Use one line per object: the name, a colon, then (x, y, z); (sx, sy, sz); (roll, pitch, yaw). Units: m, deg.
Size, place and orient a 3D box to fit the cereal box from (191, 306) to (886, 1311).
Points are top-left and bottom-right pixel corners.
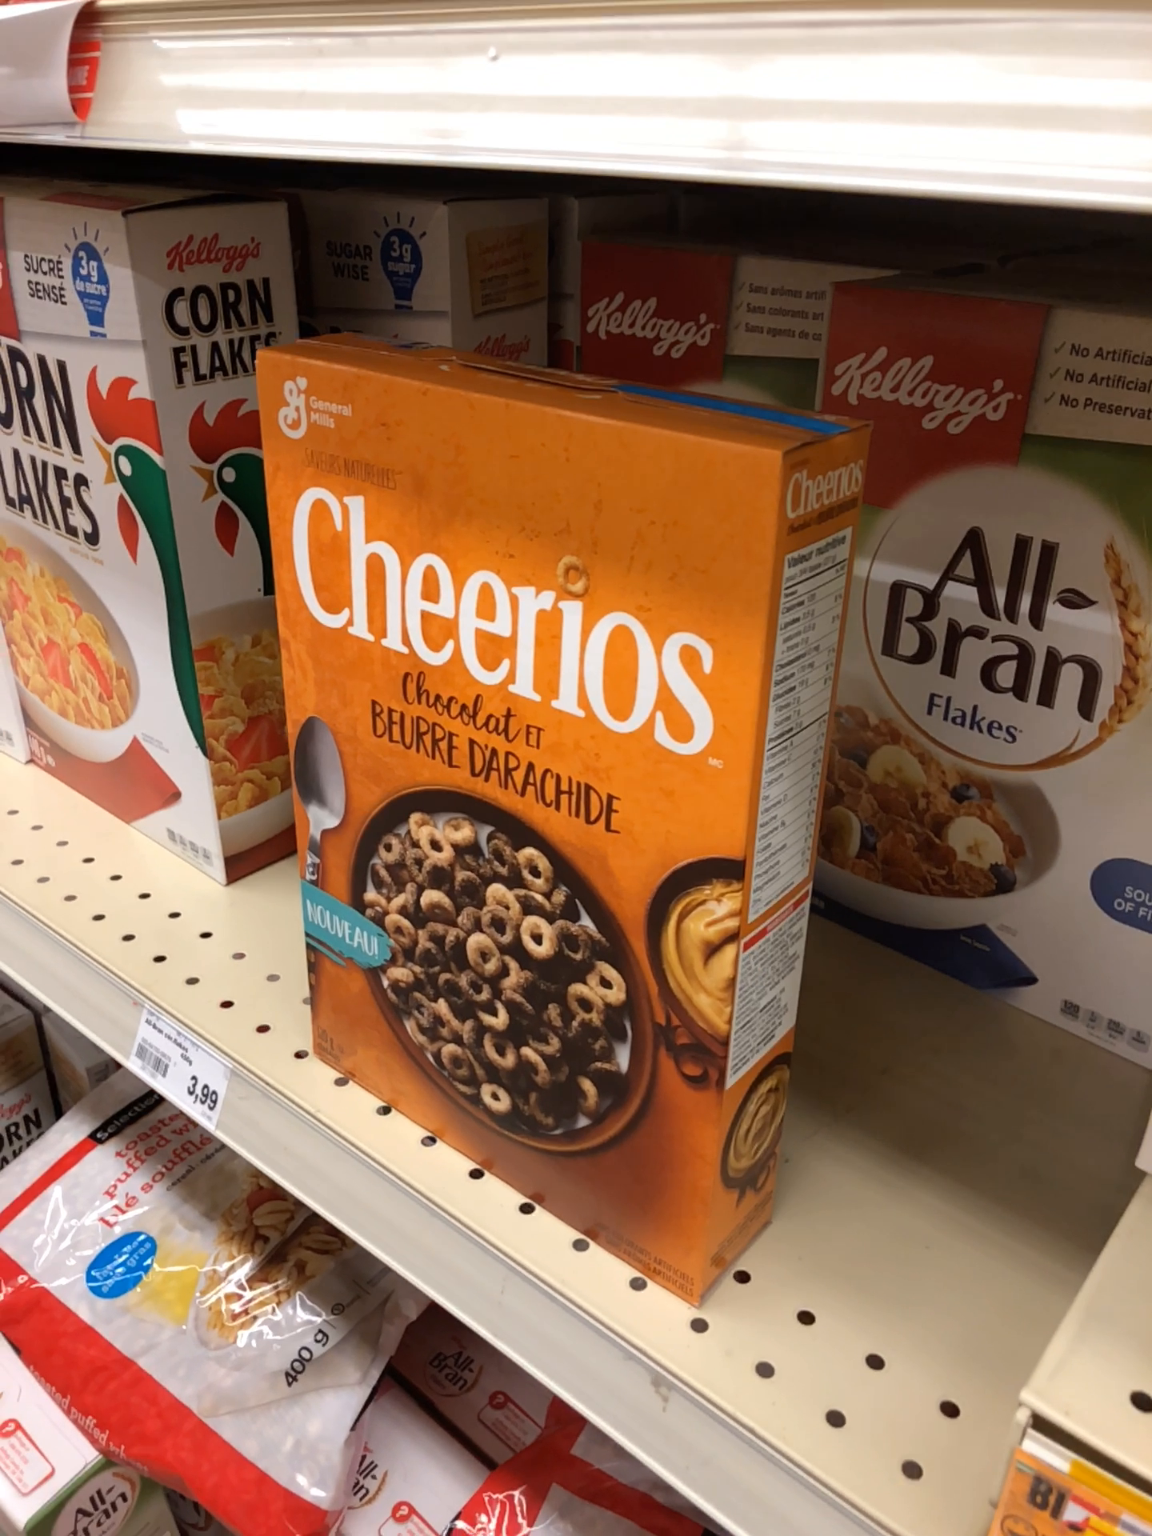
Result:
cereal box: (-0.023, 0.007, 0.407); (0.211, 0.268, 0.050); (22, 34, 35)
